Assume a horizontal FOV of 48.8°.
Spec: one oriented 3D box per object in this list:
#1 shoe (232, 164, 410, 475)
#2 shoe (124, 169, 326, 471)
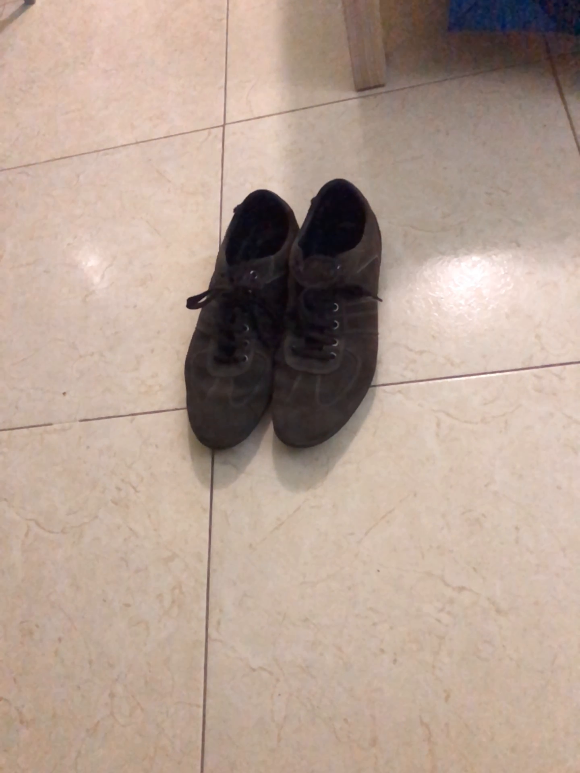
[{"bbox_3d":[0.045,-0.075,0.660,0.110,0.110,0.300,6,65,17],"label":"shoe"},{"bbox_3d":[-0.055,-0.077,0.681,0.120,0.110,0.300,4,65,17],"label":"shoe"}]
